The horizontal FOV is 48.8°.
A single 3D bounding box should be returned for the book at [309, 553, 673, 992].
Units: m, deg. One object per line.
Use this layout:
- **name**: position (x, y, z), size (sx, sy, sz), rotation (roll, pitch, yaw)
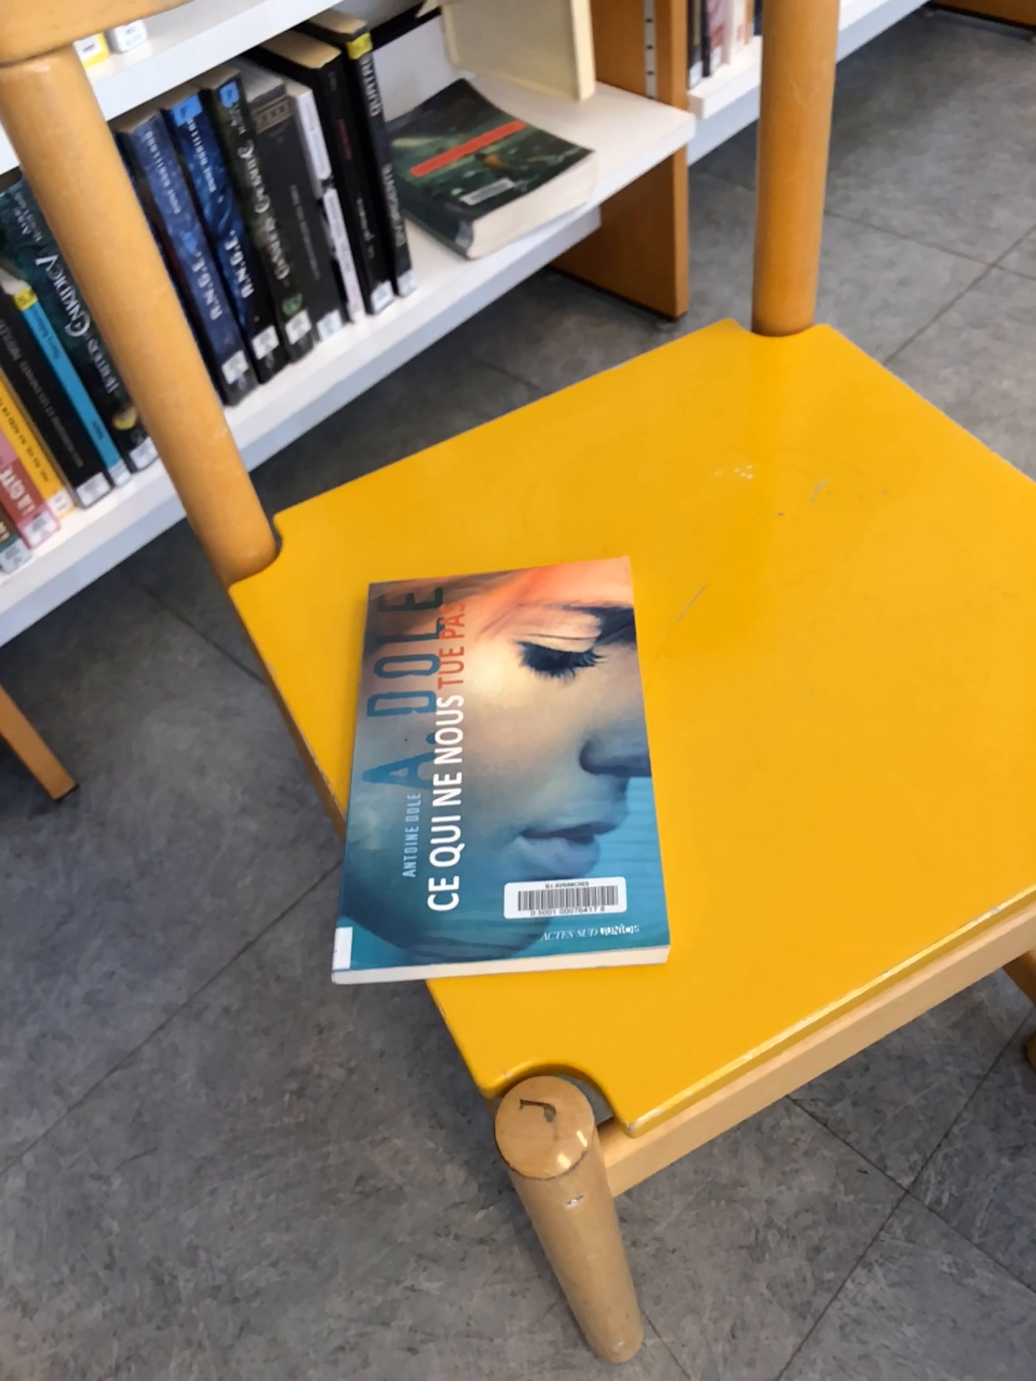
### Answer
- **book**: position (-0.012, 0.026, 0.509), size (0.140, 0.016, 0.213), rotation (-5, 51, 5)
